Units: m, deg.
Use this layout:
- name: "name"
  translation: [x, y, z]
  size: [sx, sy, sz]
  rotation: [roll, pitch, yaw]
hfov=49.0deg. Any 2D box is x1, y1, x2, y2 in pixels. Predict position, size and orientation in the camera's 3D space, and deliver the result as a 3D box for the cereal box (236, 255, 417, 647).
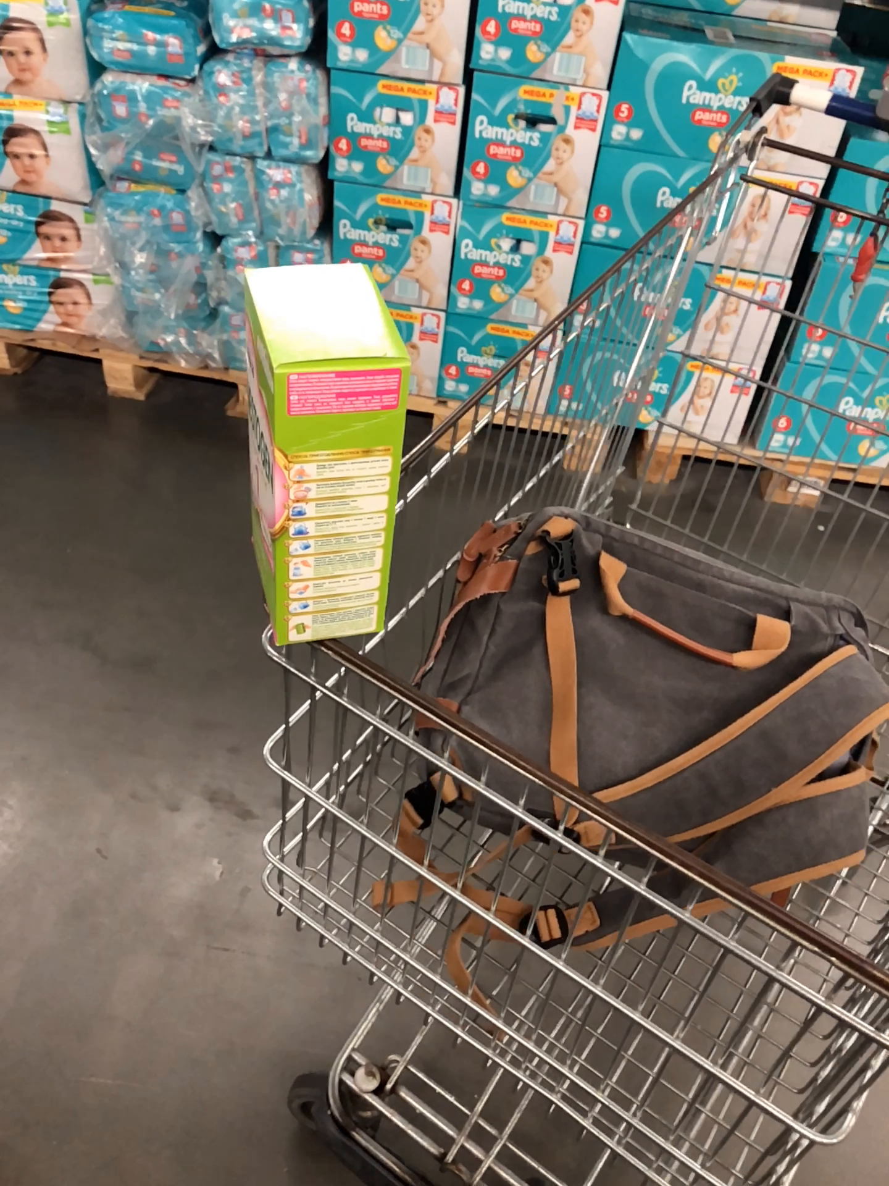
- name: "cereal box"
  translation: [-0.072, -0.075, 0.546]
  size: [0.070, 0.189, 0.101]
  rotation: [-7, 46, -17]
